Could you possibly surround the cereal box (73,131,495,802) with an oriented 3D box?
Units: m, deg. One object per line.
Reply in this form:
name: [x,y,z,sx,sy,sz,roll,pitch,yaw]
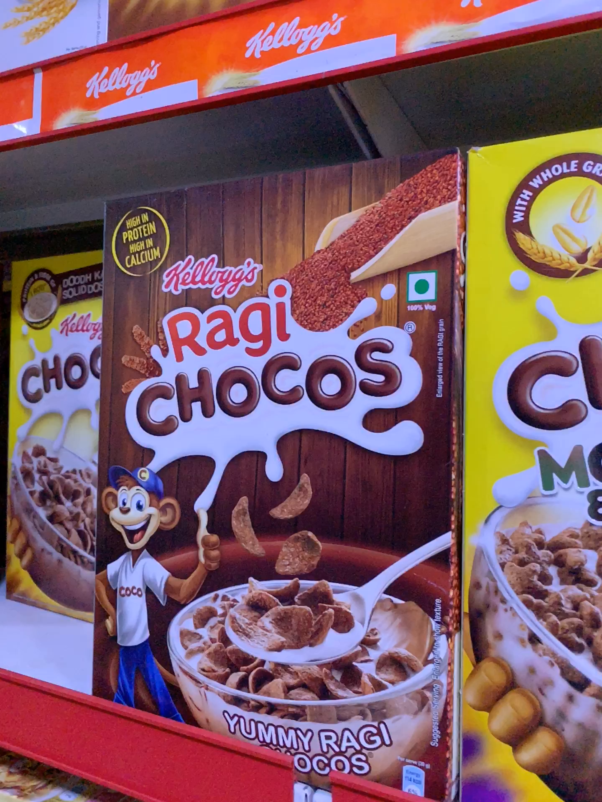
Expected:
cereal box: [-0.013,0.027,0.281,0.180,0.240,0.060,1,0,29]
